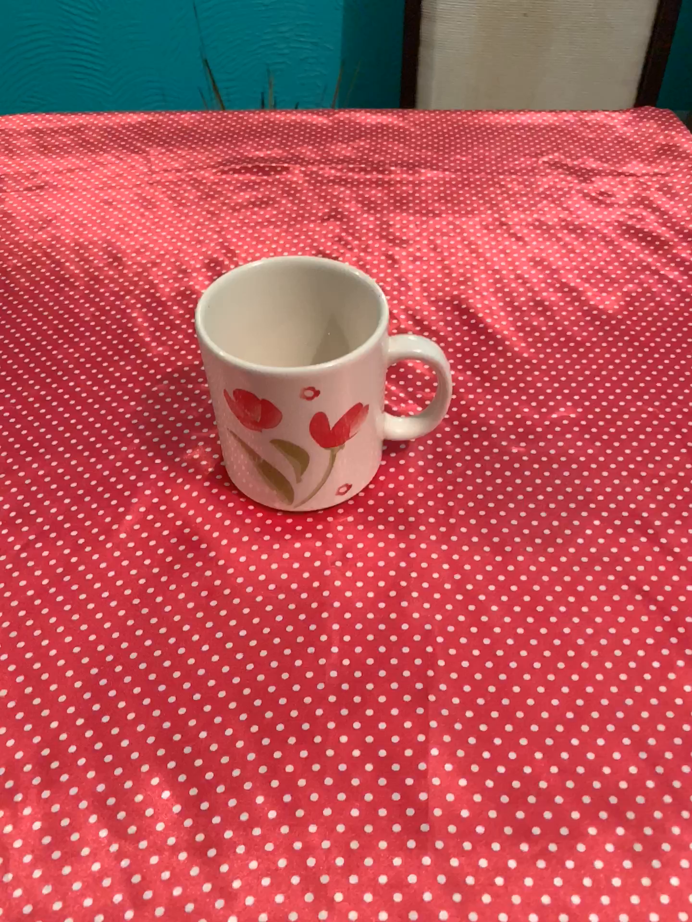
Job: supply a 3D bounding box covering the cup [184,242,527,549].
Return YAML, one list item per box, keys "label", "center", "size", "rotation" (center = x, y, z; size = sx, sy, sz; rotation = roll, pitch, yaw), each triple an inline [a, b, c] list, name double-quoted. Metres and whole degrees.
- label: "cup"
  center: [0.001, -0.029, 0.312]
  size: [0.120, 0.090, 0.090]
  rotation: [-3, 48, -3]
